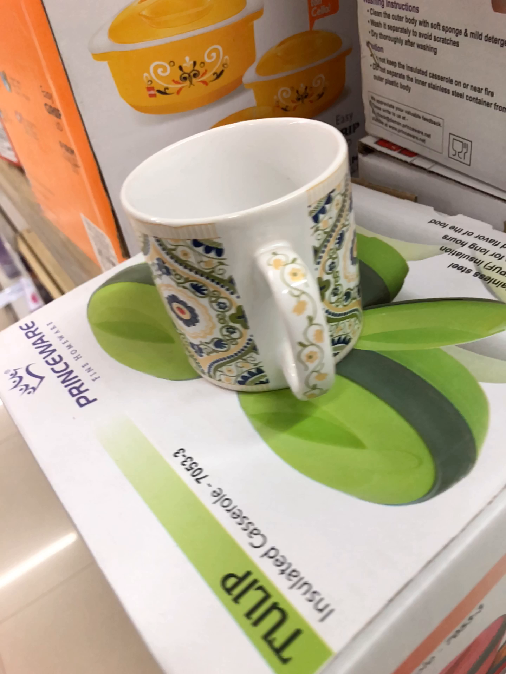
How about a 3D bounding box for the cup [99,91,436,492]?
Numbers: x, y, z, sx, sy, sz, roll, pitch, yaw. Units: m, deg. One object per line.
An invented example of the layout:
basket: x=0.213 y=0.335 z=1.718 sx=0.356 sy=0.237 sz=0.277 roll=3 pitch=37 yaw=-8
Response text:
cup: x=0.001 y=-0.025 z=0.199 sx=0.070 sy=0.080 sz=0.111 roll=-21 pitch=38 yaw=-9
